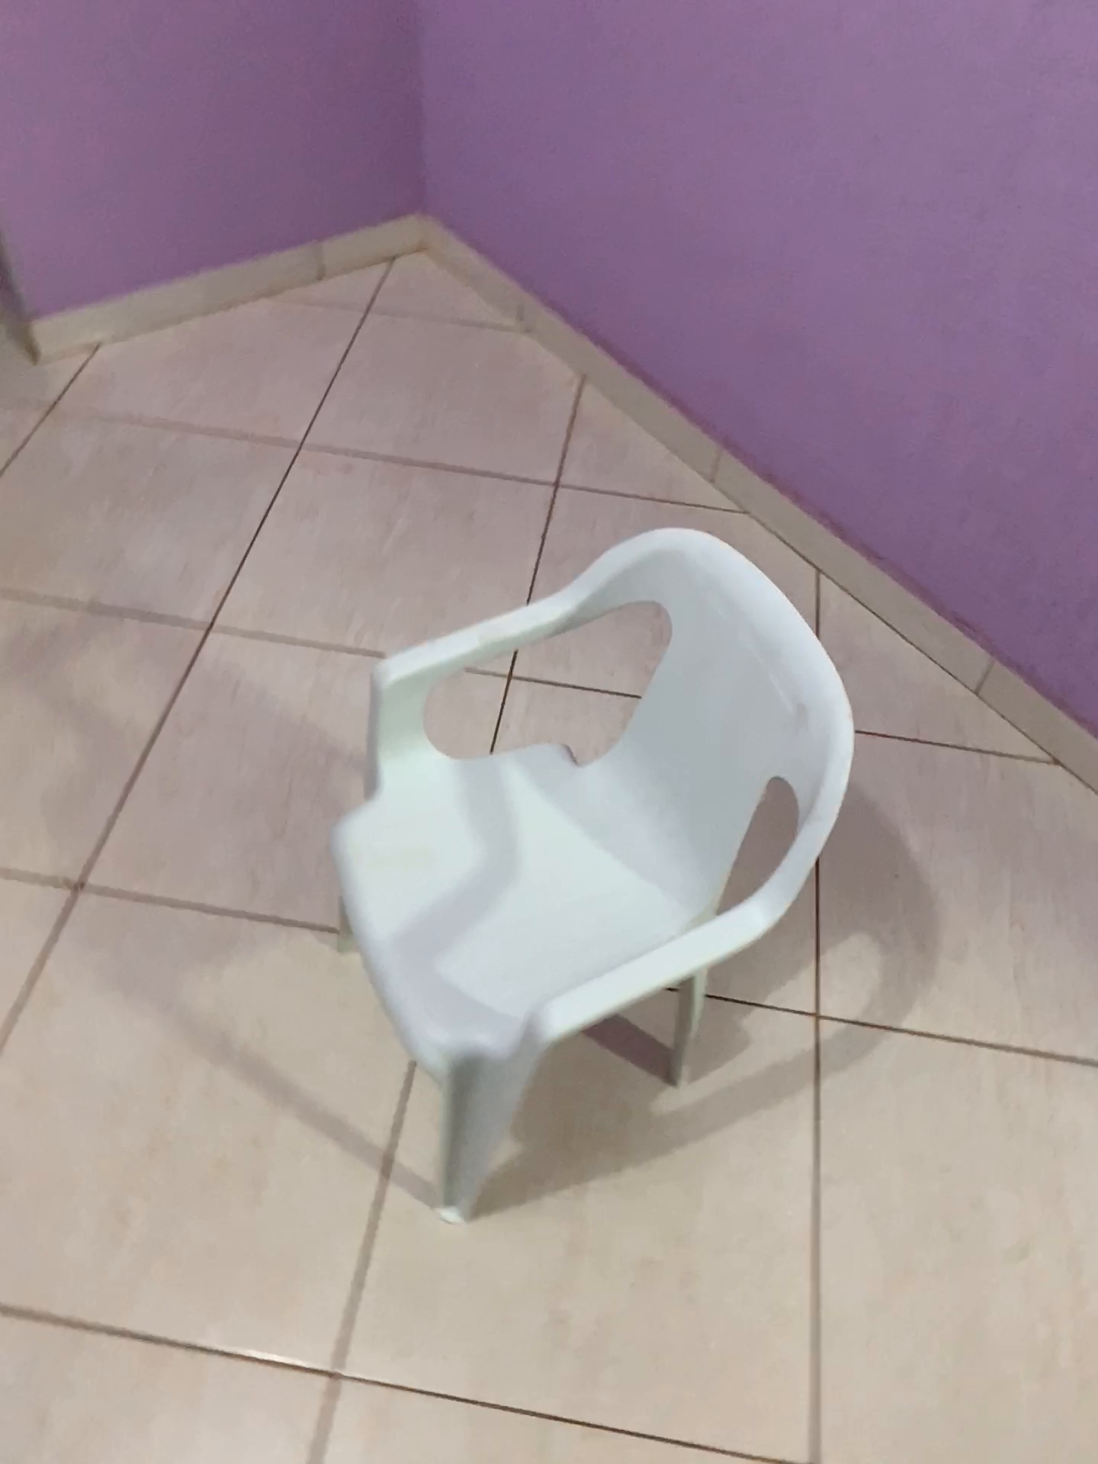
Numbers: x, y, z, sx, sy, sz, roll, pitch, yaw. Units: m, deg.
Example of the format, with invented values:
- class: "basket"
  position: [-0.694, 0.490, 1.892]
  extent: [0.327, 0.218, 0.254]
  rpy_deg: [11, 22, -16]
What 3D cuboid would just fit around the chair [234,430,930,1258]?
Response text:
- class: "chair"
  position: [-0.010, 0.124, 1.036]
  extent: [0.361, 0.595, 0.402]
  rpy_deg: [-19, 54, -19]
